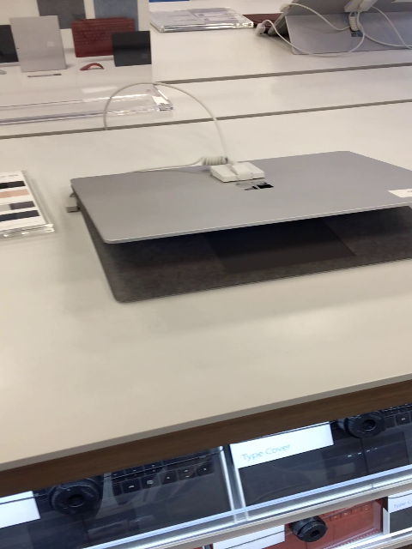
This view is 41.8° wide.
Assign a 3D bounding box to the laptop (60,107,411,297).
[{"bbox_3d":[0.049,-0.089,0.554,0.338,0.063,0.213,-11,42,-12],"label":"laptop"}]
